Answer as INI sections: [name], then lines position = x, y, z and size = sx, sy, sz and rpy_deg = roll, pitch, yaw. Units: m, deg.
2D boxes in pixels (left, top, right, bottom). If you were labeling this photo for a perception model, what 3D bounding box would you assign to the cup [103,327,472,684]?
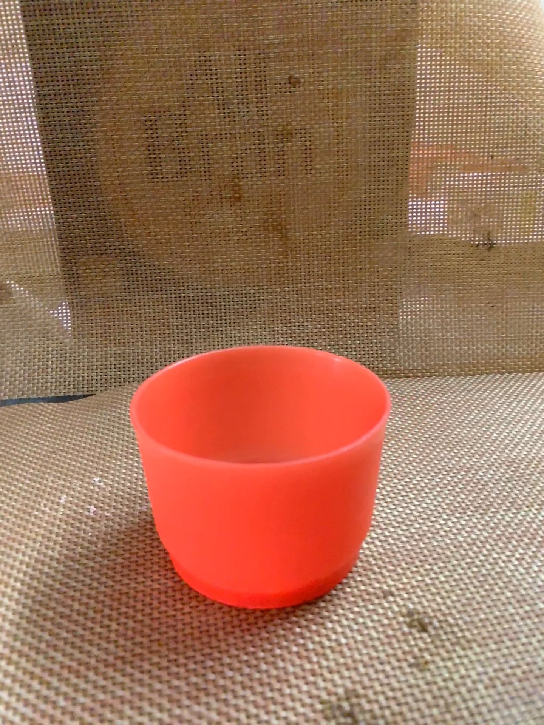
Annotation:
[cup]
position = -0.003, 0.031, 0.165
size = 0.081, 0.050, 0.079
rpy_deg = -1, 24, 0
